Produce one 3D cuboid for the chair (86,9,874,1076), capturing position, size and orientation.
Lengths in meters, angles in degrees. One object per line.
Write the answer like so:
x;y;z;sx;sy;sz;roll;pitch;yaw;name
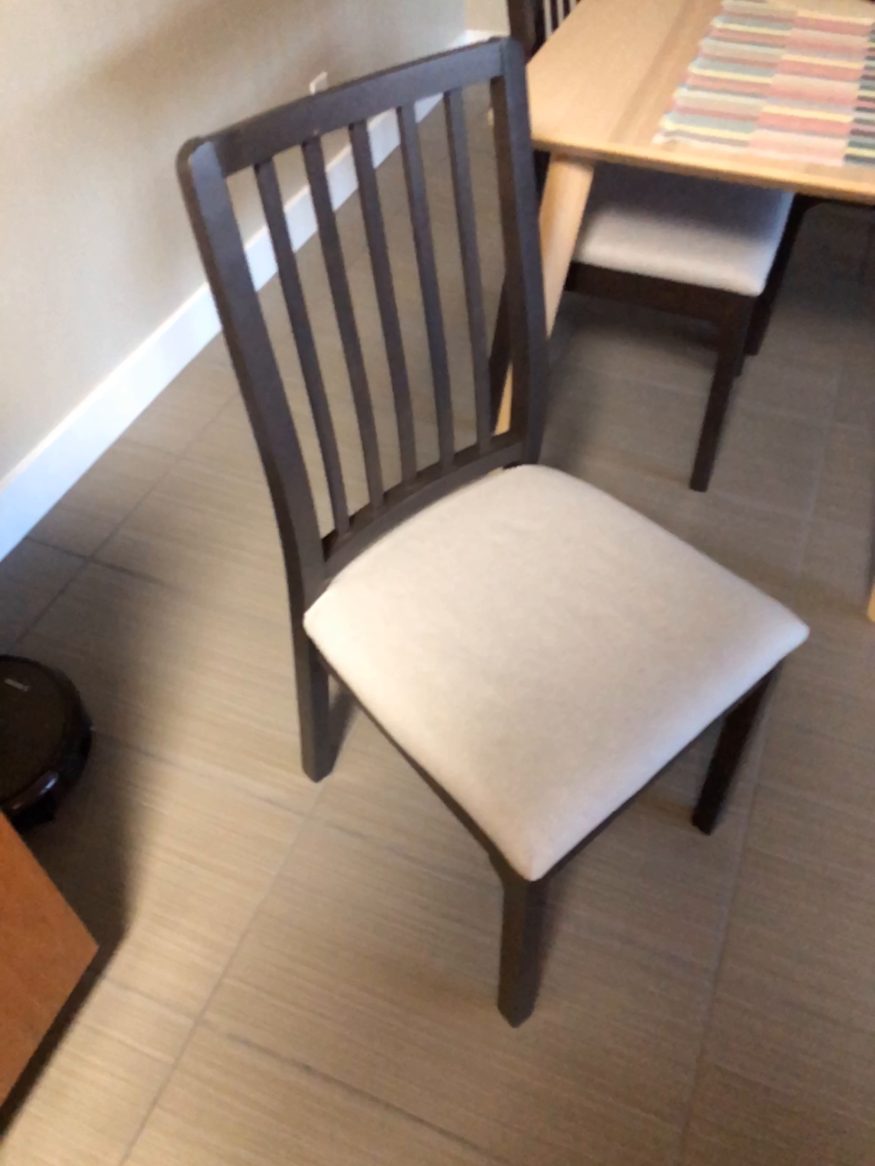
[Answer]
0.065;0.052;1.154;0.481;1.126;0.511;-30;54;-24;chair
